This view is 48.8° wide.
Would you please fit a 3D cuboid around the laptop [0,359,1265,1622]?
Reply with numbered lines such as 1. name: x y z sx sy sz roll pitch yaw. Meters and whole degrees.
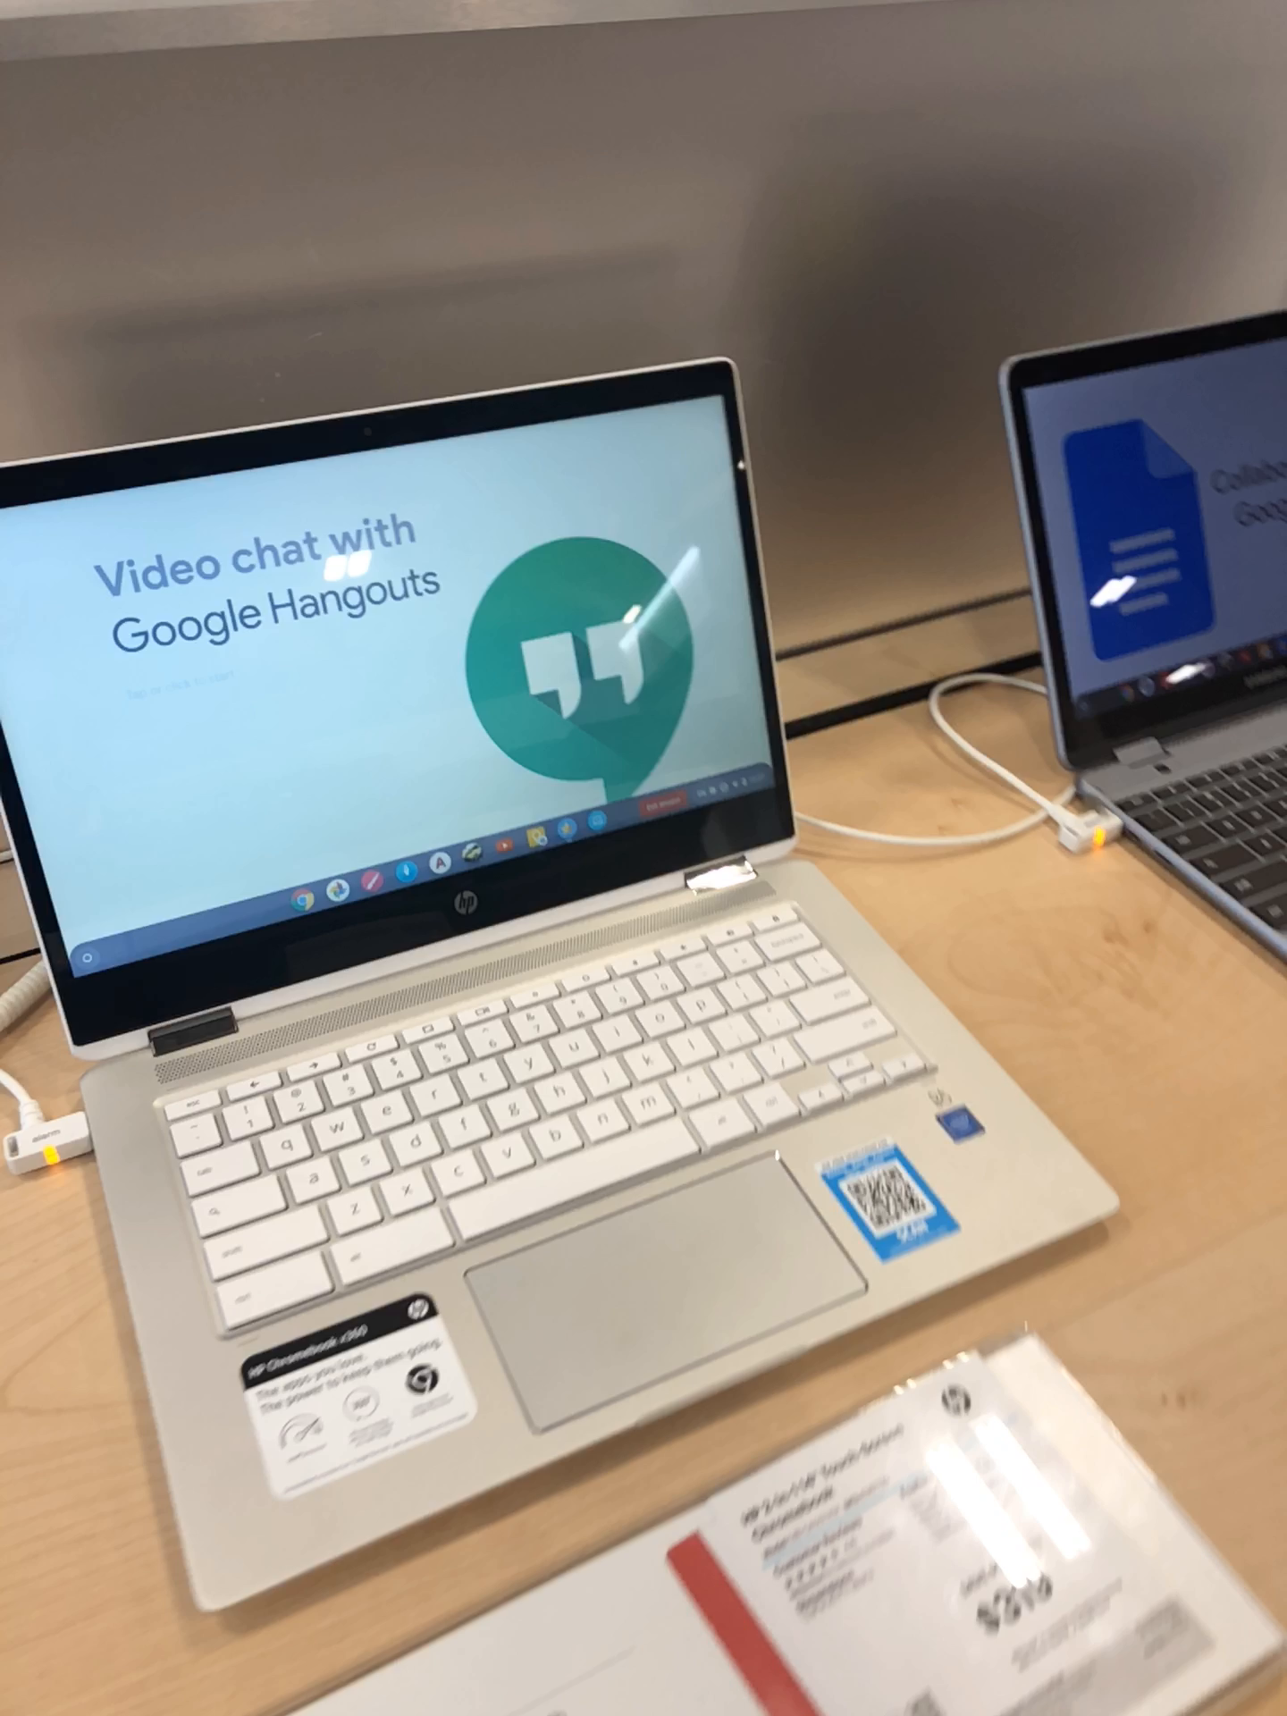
1. laptop: -0.045 -0.001 0.503 0.323 0.205 0.319 -16 42 -22
